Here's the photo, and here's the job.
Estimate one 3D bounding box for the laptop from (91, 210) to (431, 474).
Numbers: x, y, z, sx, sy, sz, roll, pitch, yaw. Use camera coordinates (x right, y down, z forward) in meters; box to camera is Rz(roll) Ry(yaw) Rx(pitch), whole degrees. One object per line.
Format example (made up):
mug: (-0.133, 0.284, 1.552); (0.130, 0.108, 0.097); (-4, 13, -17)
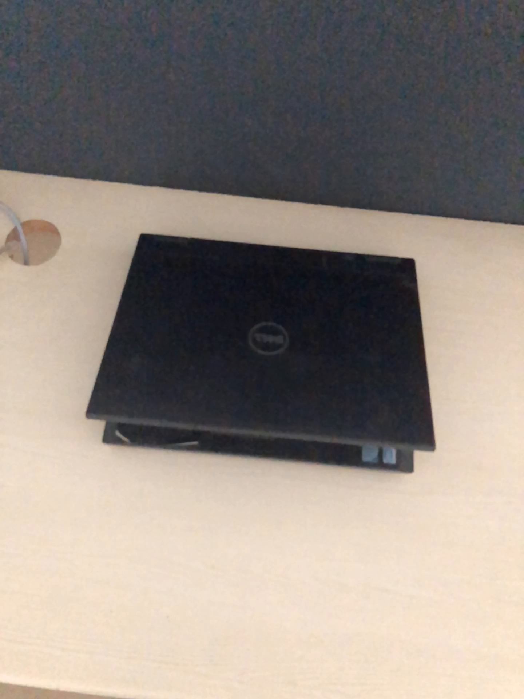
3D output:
laptop: (0.009, -0.010, 0.585); (0.302, 0.065, 0.230); (5, 70, 0)
